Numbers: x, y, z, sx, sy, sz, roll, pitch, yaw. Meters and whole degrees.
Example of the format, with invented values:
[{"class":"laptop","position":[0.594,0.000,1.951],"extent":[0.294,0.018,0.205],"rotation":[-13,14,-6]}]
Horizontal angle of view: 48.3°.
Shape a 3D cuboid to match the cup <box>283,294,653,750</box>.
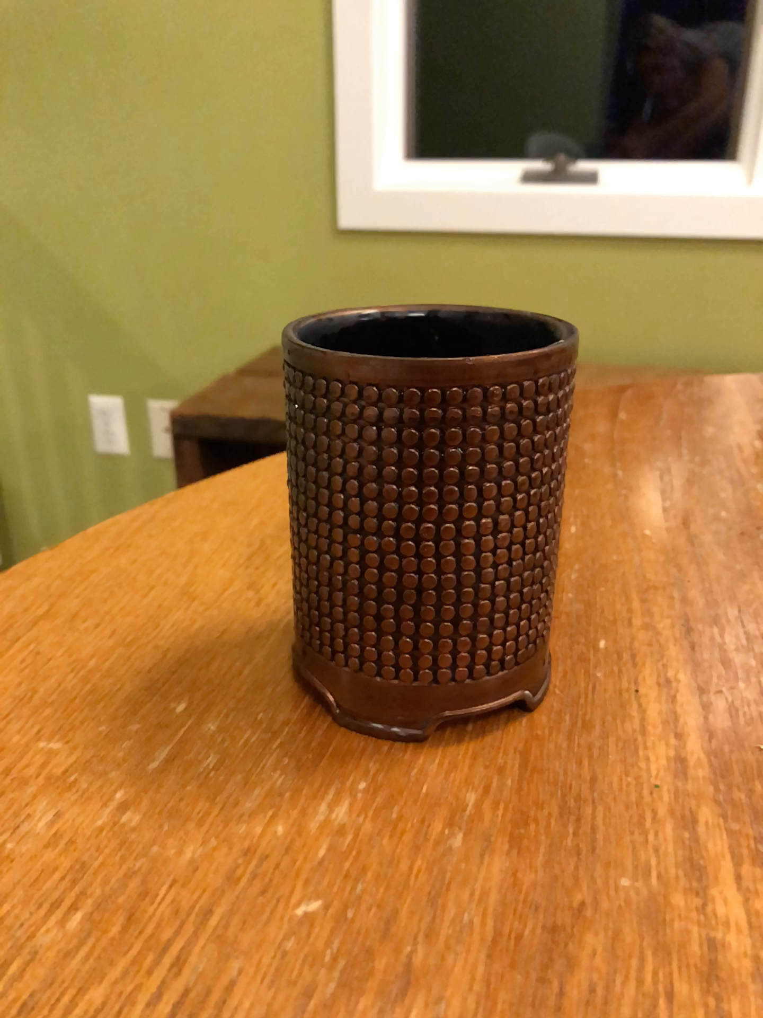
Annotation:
[{"class":"cup","position":[0.015,-0.002,0.228],"extent":[0.077,0.097,0.073],"rotation":[0,22,0]}]
